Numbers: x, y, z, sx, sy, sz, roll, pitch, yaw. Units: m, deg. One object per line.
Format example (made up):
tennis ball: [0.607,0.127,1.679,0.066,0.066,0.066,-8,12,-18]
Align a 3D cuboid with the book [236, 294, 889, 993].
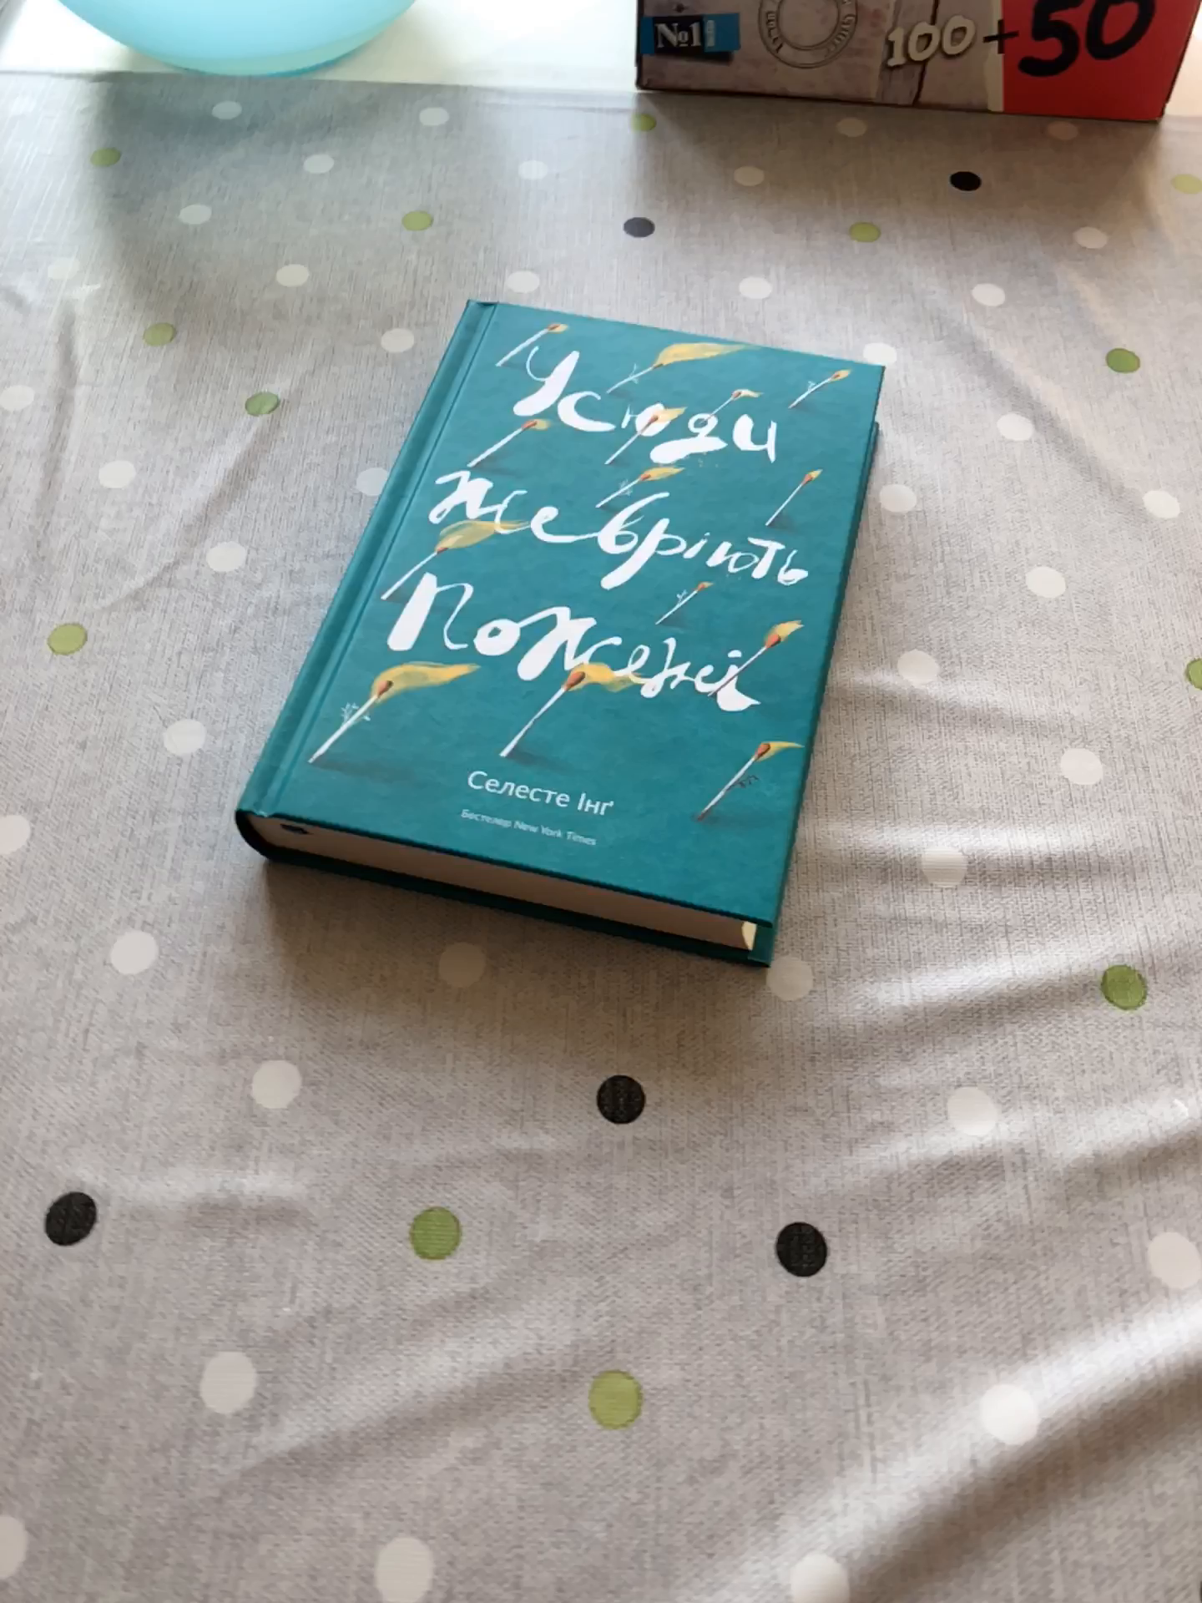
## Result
book: [0.000,-0.061,0.408,0.143,0.040,0.214,12,59,7]
